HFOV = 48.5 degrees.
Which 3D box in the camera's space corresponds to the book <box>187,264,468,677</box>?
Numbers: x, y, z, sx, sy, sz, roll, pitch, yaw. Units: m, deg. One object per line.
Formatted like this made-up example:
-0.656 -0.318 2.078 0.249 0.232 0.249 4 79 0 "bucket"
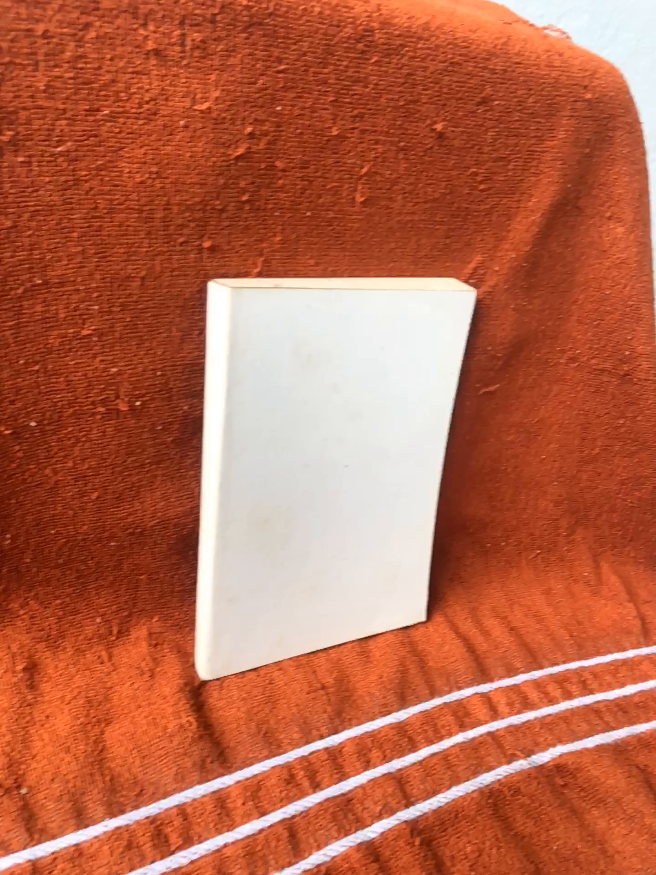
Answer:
0.001 0.012 0.393 0.151 0.200 0.030 -5 14 -32 "book"
